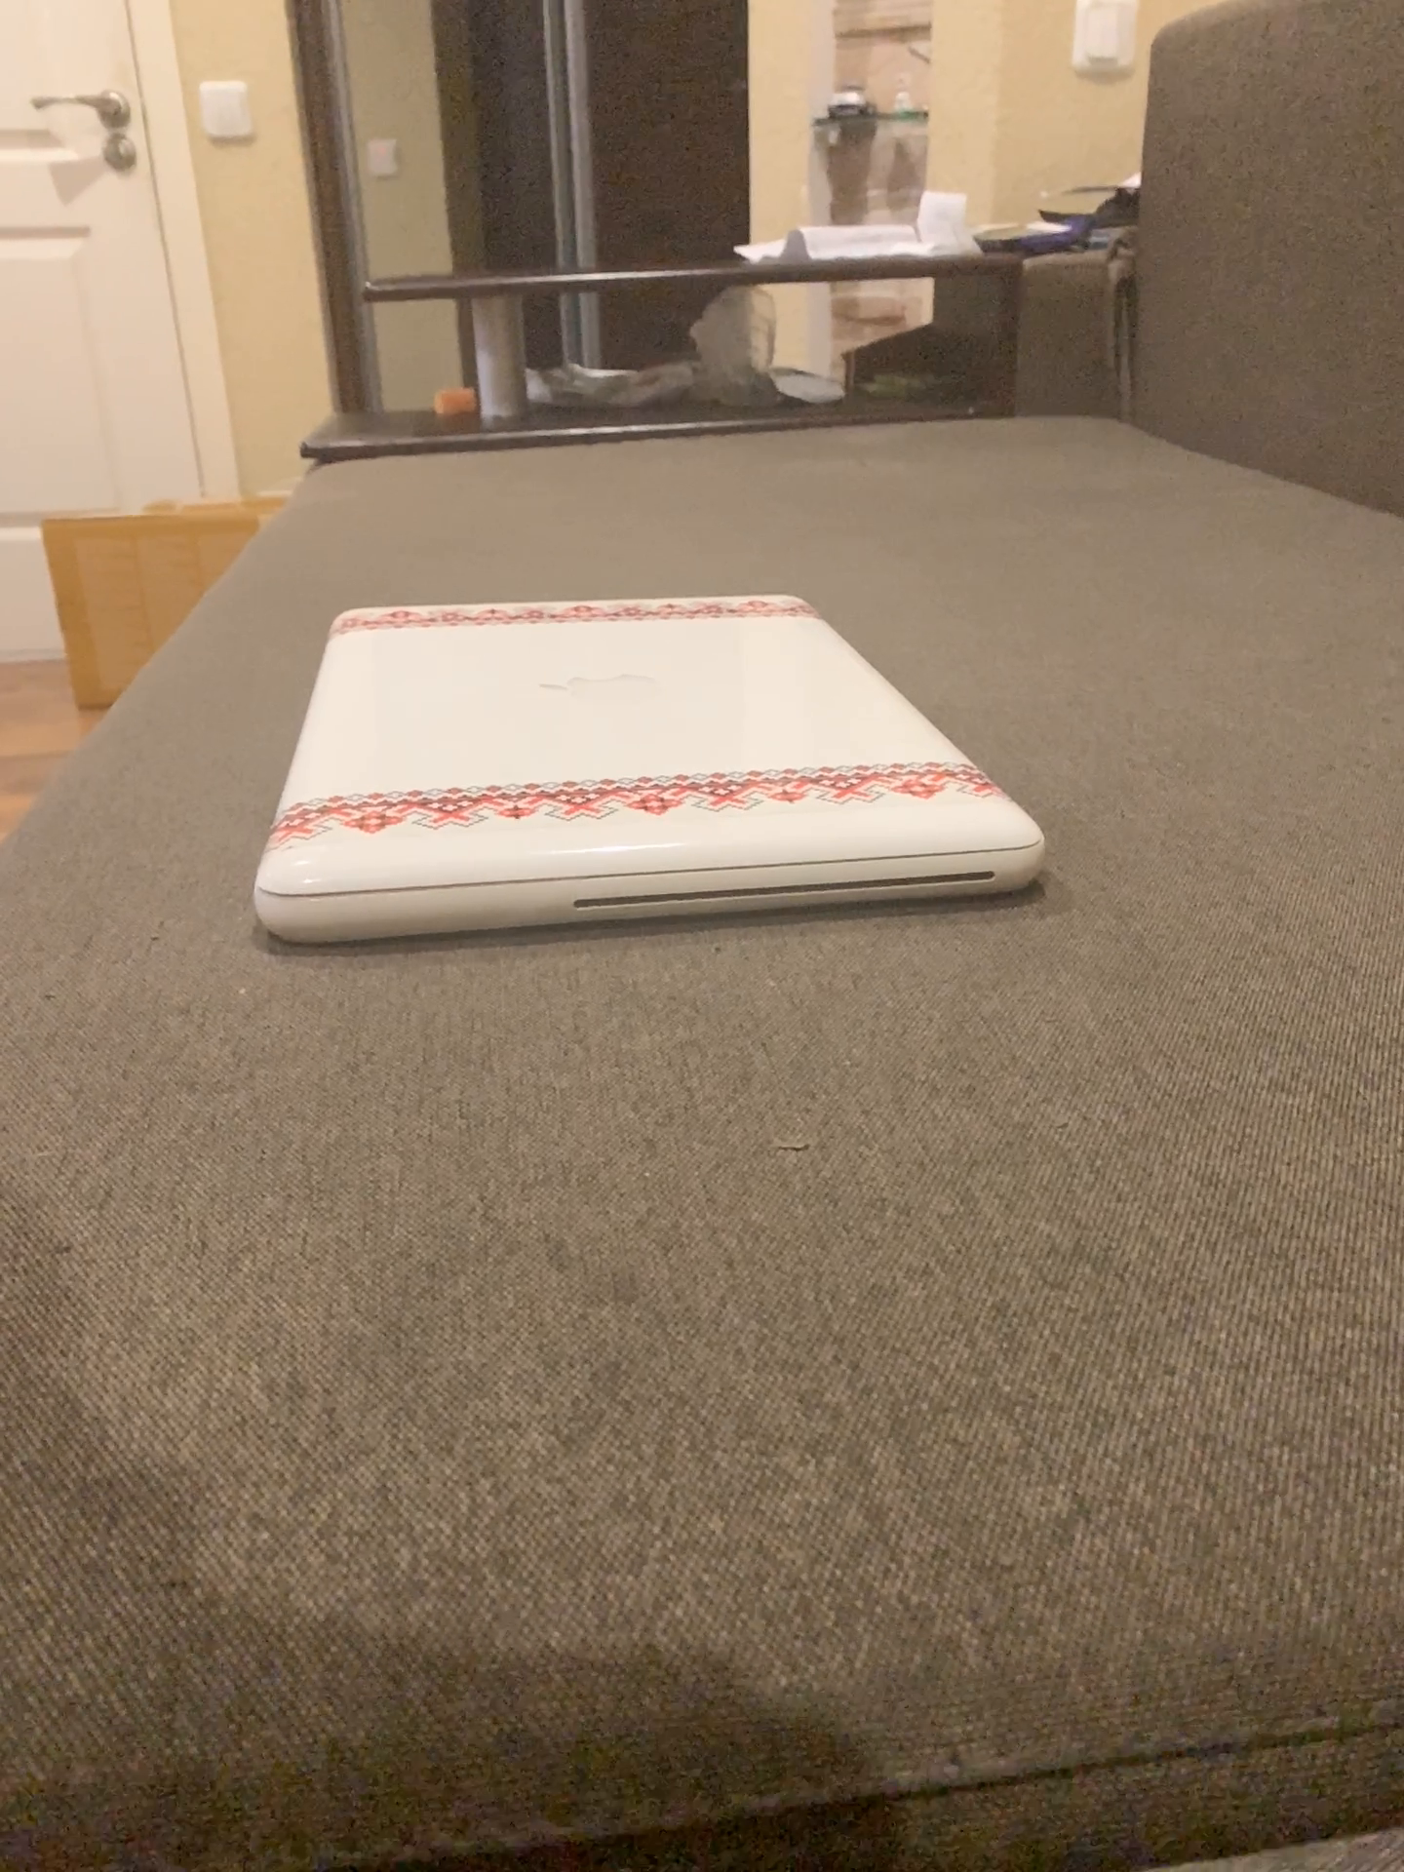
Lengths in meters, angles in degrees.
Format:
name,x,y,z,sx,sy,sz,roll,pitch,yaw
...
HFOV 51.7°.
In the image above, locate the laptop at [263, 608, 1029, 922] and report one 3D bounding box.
name,x,y,z,sx,sy,sz,roll,pitch,yaw
laptop,-0.042,-0.083,0.562,0.221,0.003,0.327,-6,26,-8
